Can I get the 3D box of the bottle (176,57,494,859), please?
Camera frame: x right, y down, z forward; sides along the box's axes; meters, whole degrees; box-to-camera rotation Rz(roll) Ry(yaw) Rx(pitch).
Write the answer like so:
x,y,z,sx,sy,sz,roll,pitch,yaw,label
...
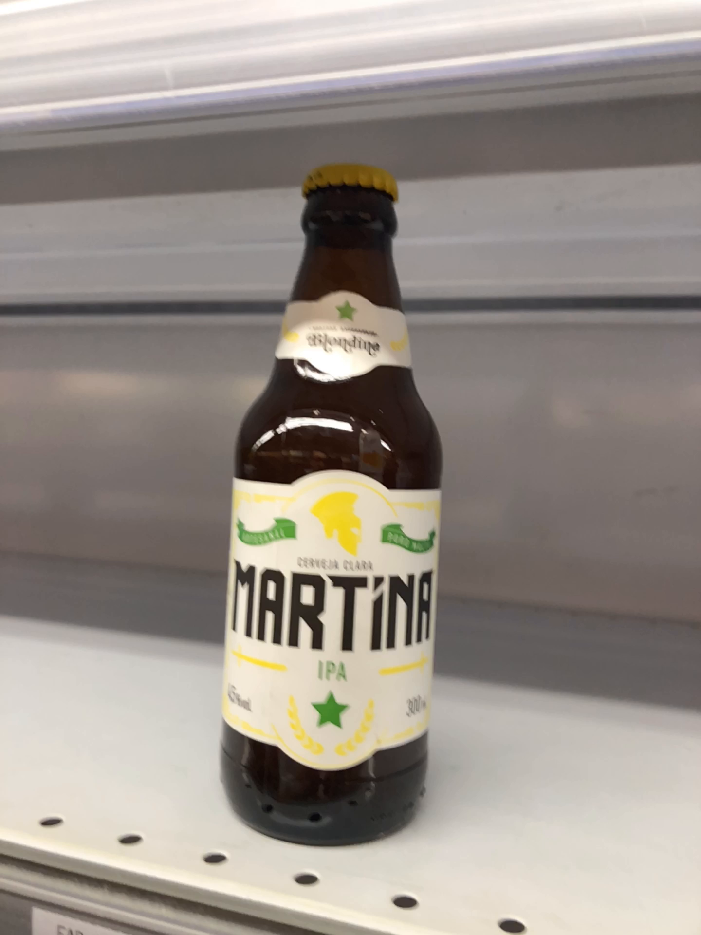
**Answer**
x,y,z,sx,sy,sz,roll,pitch,yaw,label
-0.006,-0.002,0.220,0.070,0.190,0.060,2,1,-6,bottle
